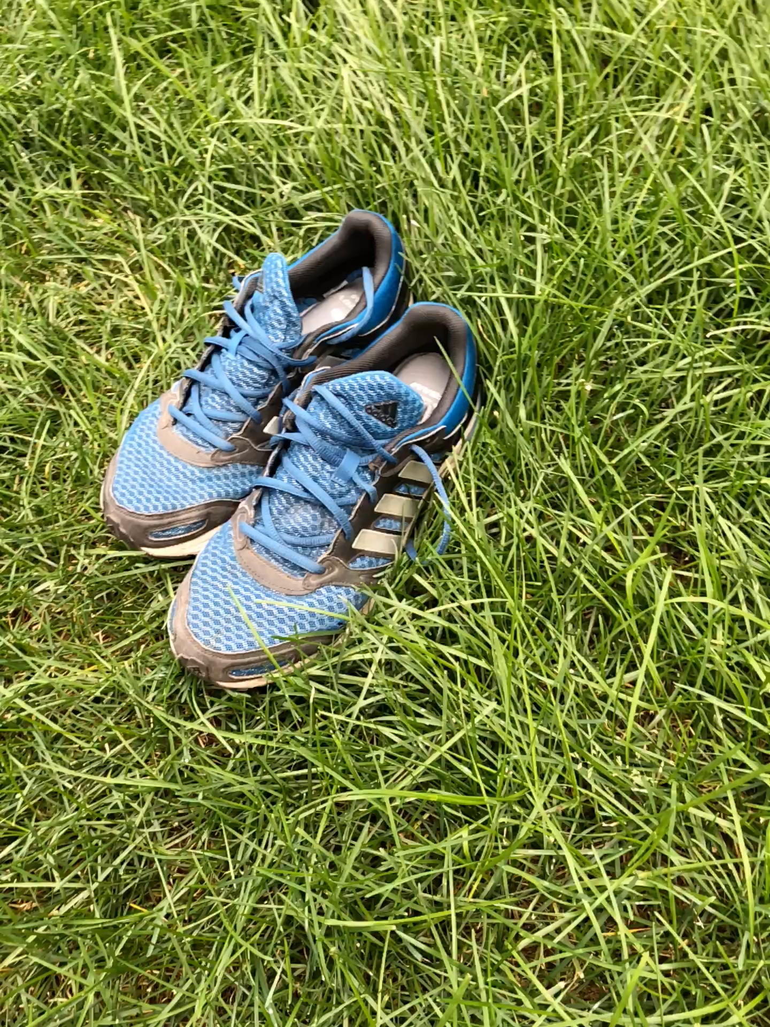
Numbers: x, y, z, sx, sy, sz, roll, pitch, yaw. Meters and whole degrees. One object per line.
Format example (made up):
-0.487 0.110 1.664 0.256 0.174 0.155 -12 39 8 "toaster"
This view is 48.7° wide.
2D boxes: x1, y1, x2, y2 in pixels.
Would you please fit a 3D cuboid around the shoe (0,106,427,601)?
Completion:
-0.111 -0.101 0.547 0.120 0.120 0.270 34 79 23 "shoe"

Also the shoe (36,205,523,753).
-0.046 -0.020 0.507 0.120 0.120 0.280 29 77 22 "shoe"
